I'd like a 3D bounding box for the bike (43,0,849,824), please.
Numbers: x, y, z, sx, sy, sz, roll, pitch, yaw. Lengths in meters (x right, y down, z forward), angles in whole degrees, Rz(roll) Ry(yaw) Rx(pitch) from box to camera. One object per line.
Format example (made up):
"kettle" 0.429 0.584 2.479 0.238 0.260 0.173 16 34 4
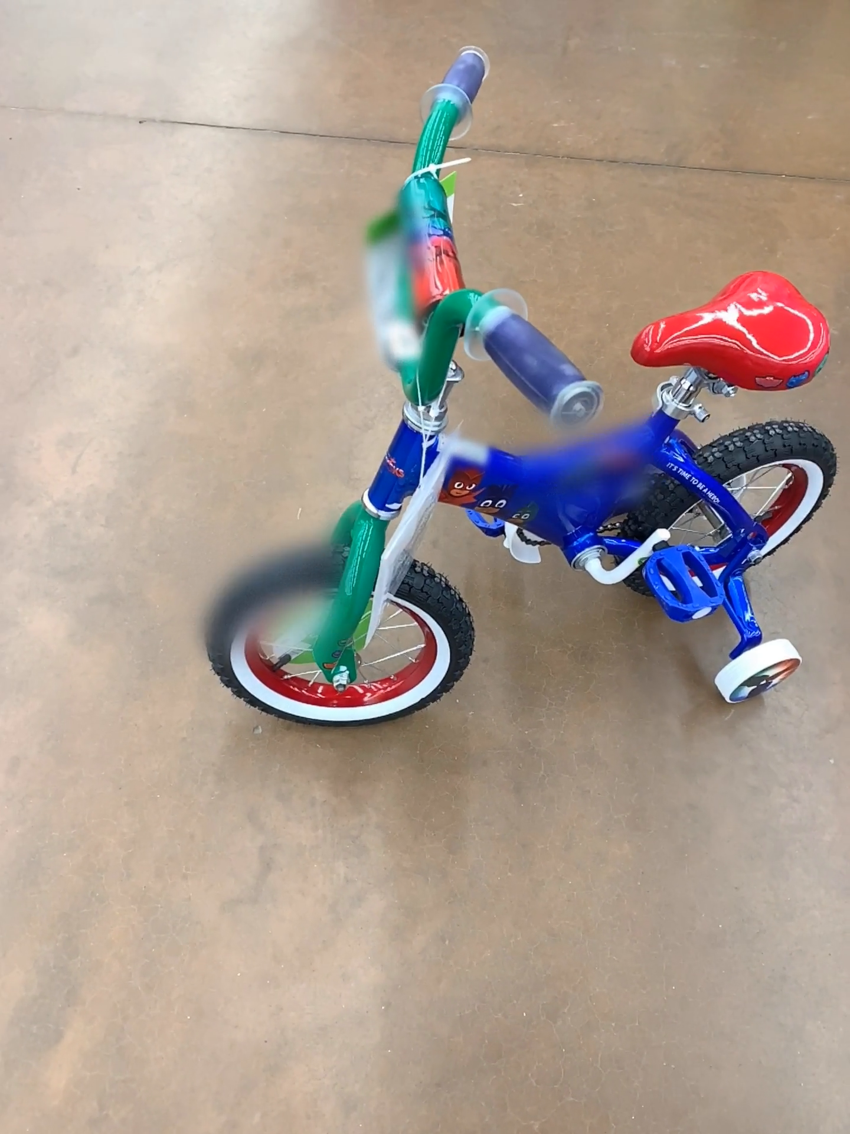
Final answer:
"bike" 0.145 -0.156 0.929 0.794 0.695 0.466 -13 58 -12
